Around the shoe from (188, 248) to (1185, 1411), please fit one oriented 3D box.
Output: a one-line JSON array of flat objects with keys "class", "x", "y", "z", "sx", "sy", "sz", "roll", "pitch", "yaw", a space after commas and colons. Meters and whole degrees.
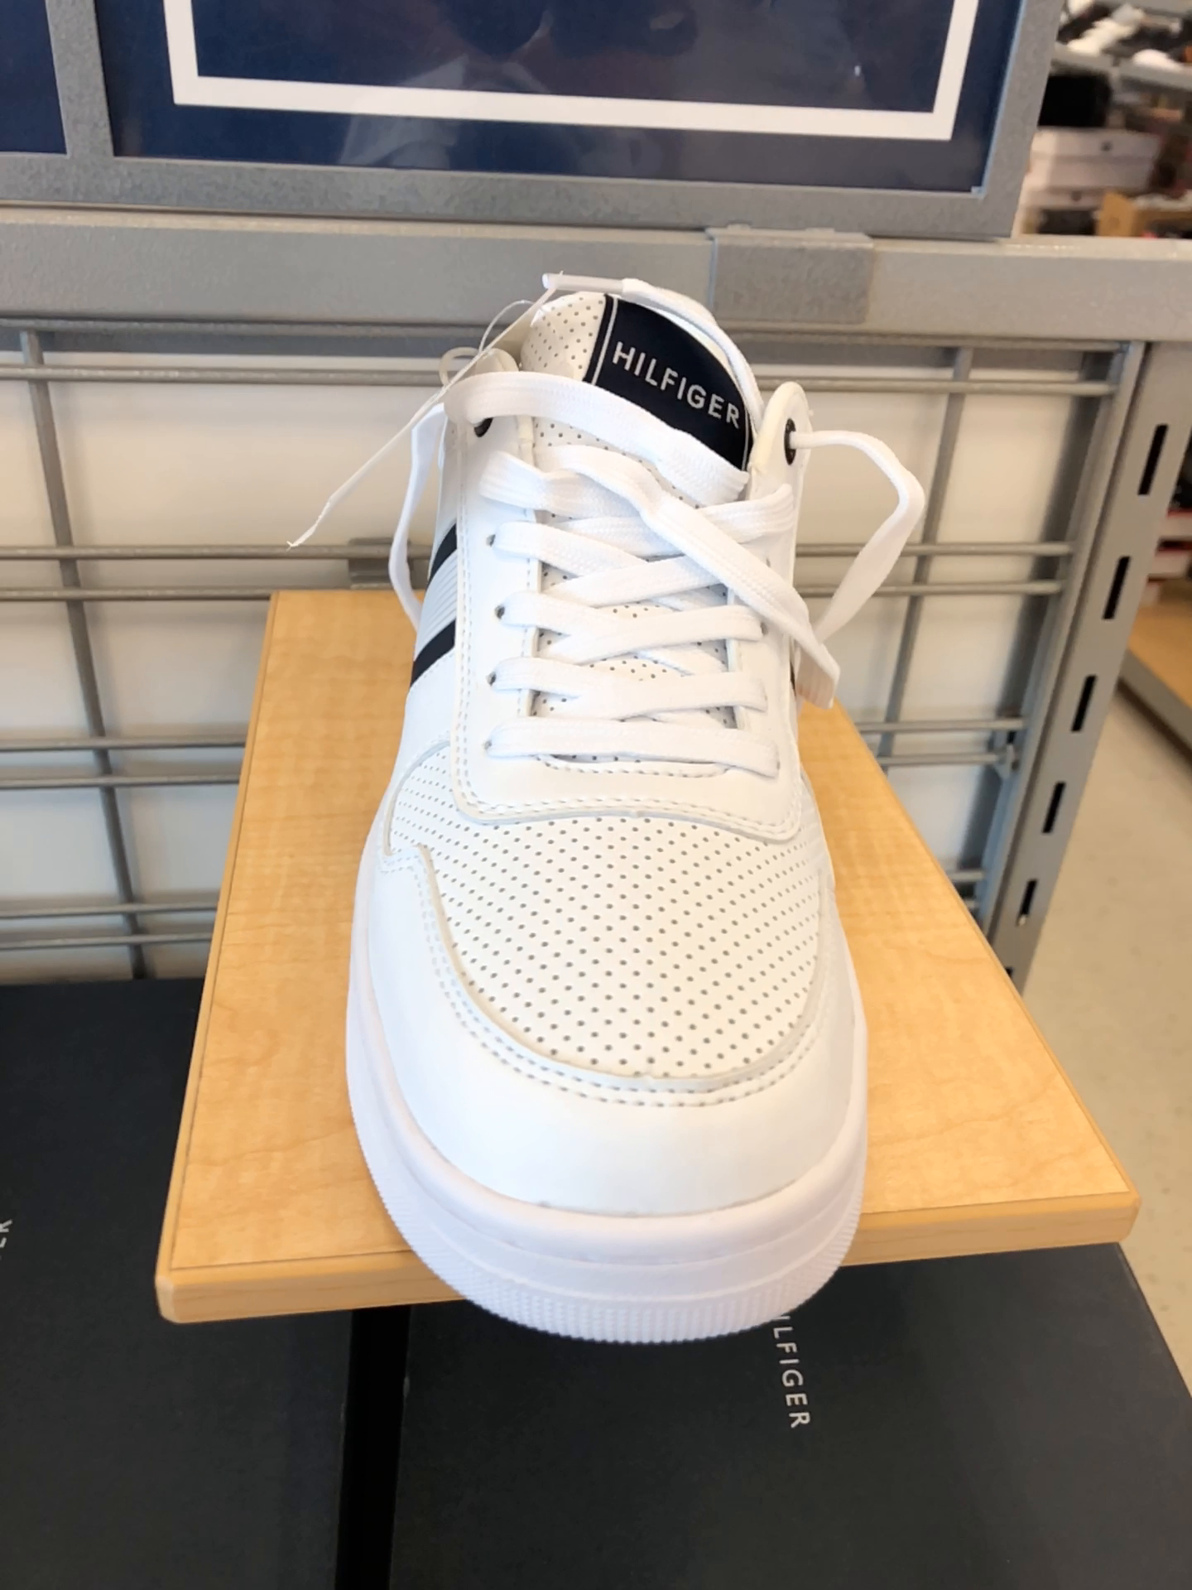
[{"class": "shoe", "x": 0.003, "y": -0.030, "z": 0.290, "sx": 0.107, "sy": 0.113, "sz": 0.282, "roll": 2, "pitch": 32, "yaw": -3}]
